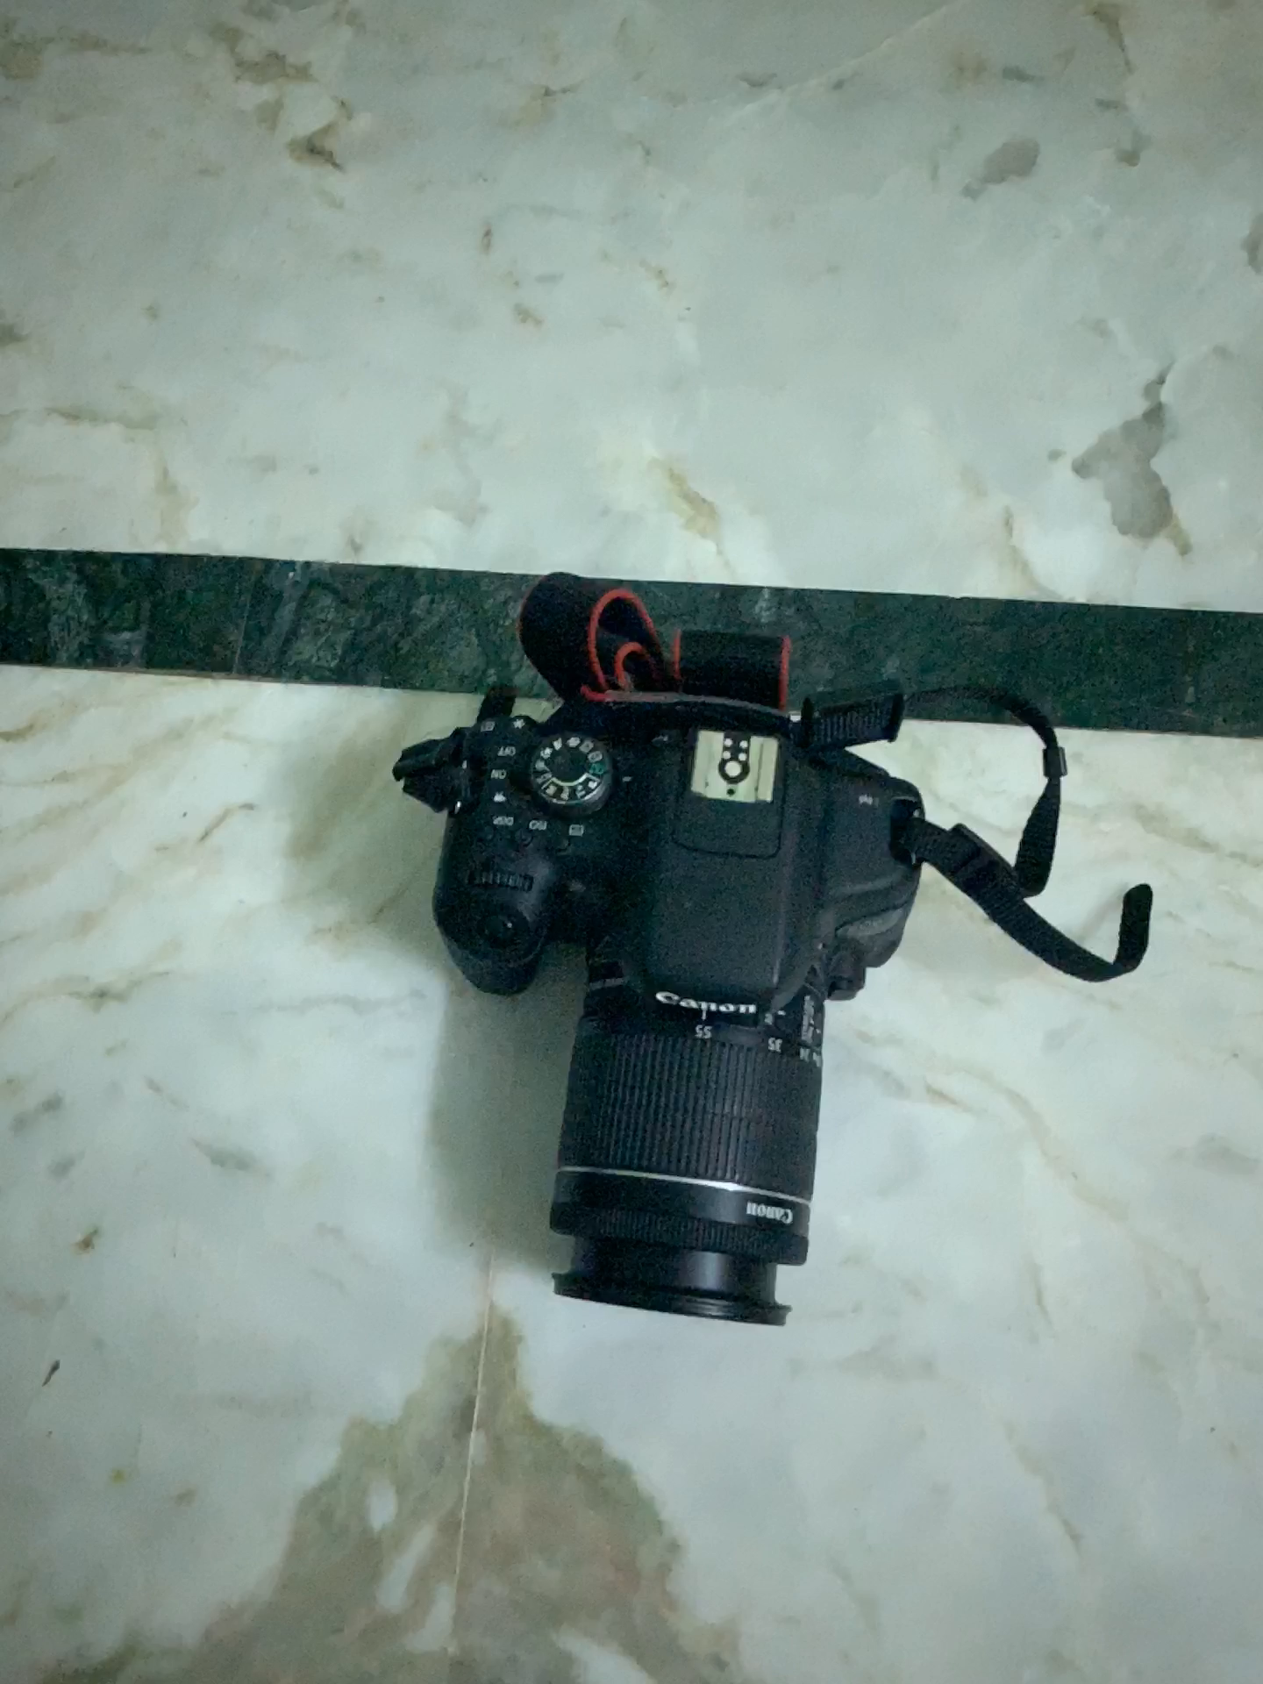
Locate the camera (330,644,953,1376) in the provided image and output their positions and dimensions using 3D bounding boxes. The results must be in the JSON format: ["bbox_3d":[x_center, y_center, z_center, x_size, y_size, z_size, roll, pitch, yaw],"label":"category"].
[{"bbox_3d":[0.009,0.048,0.346,0.128,0.100,0.160,5,69,4],"label":"camera"}]
